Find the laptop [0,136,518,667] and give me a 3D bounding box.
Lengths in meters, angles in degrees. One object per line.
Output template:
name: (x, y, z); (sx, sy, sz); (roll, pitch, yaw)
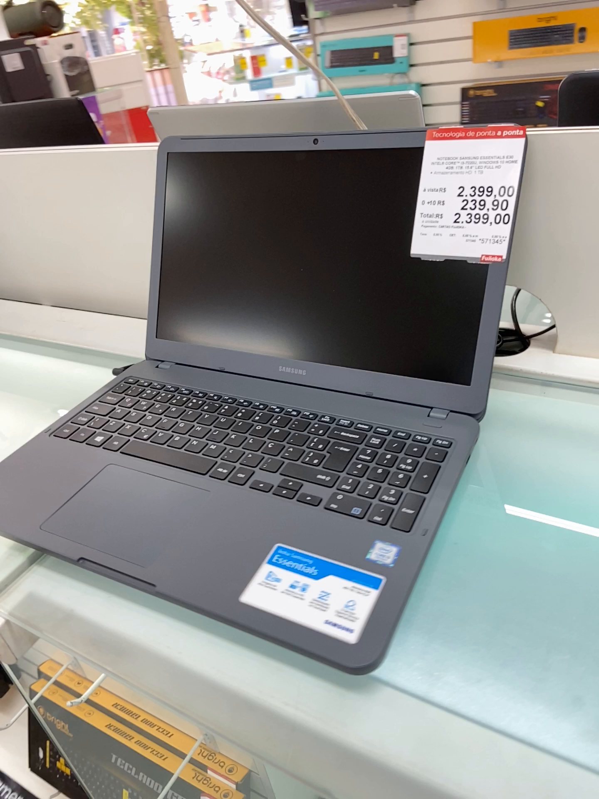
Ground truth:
laptop: (-0.054, -0.060, 0.488); (0.361, 0.197, 0.353); (10, 37, 27)
